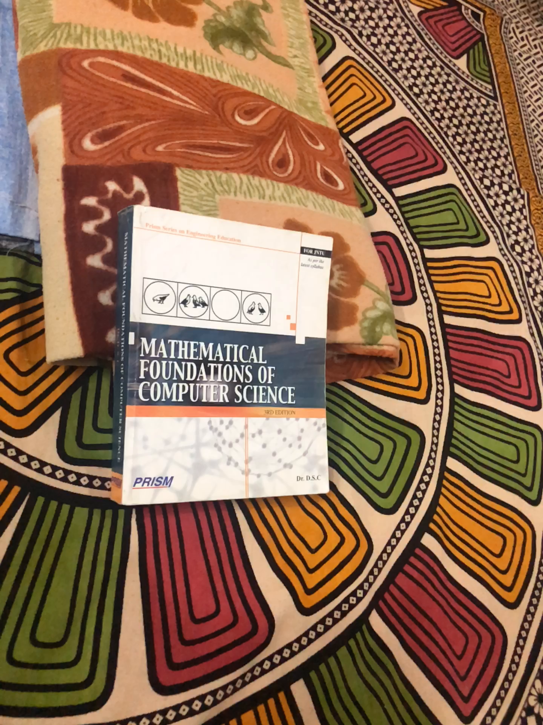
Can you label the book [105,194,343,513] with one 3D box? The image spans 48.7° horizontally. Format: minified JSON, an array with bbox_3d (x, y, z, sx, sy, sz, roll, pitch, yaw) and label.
[{"bbox_3d":[-0.039,-0.004,0.516,0.191,0.060,0.240,2,82,-26],"label":"book"}]
